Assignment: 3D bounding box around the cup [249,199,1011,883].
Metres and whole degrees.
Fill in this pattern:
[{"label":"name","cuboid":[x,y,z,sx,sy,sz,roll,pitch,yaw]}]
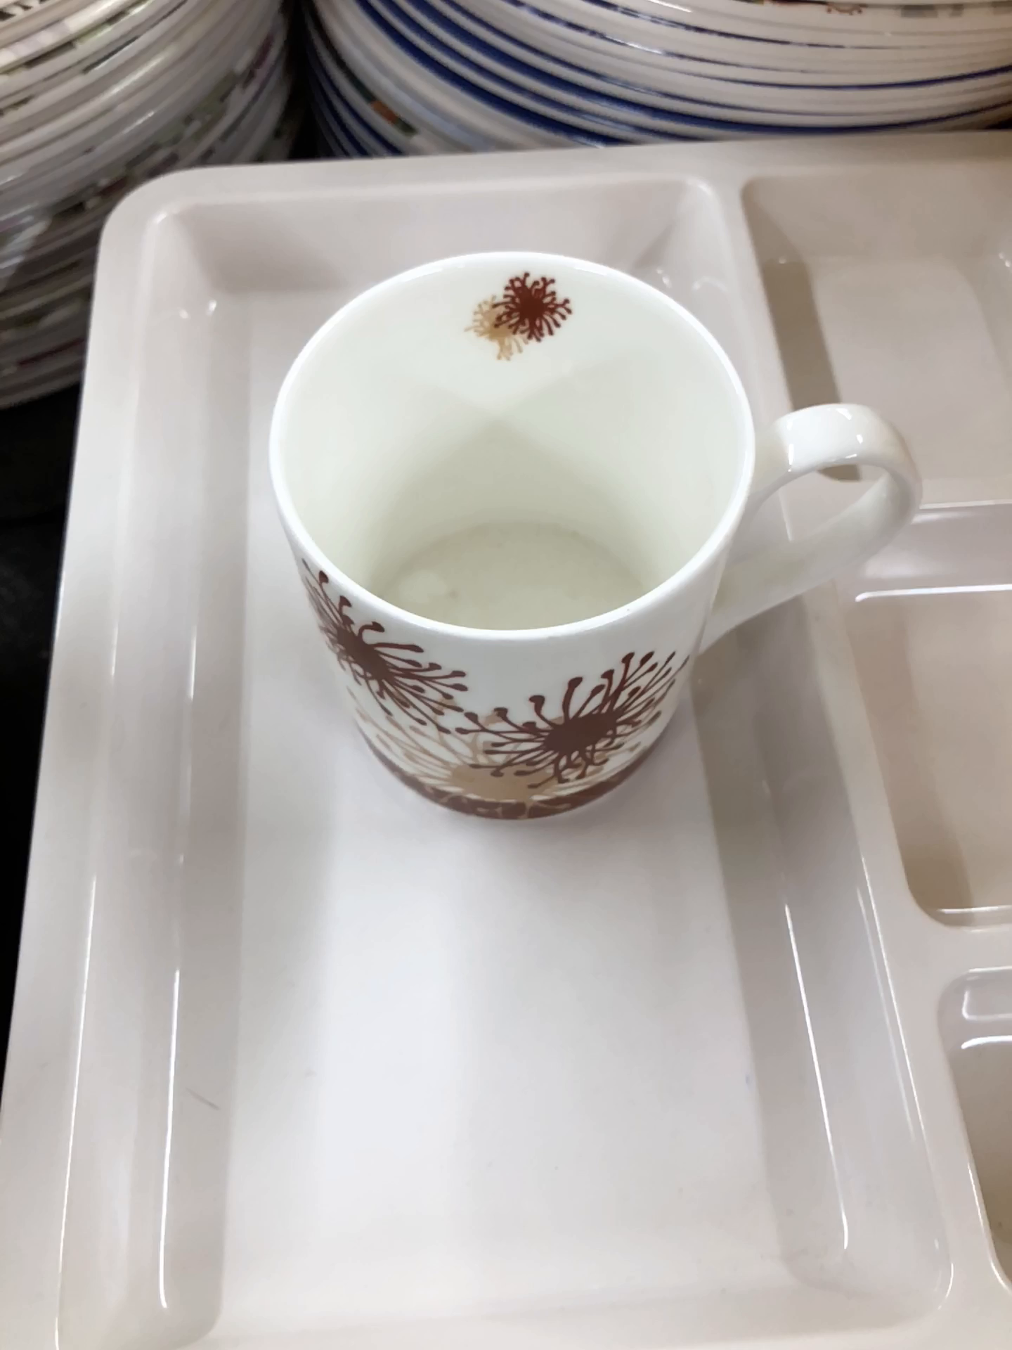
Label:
[{"label":"cup","cuboid":[0.022,-0.021,0.219,0.120,0.090,0.080,-8,64,-5]}]
